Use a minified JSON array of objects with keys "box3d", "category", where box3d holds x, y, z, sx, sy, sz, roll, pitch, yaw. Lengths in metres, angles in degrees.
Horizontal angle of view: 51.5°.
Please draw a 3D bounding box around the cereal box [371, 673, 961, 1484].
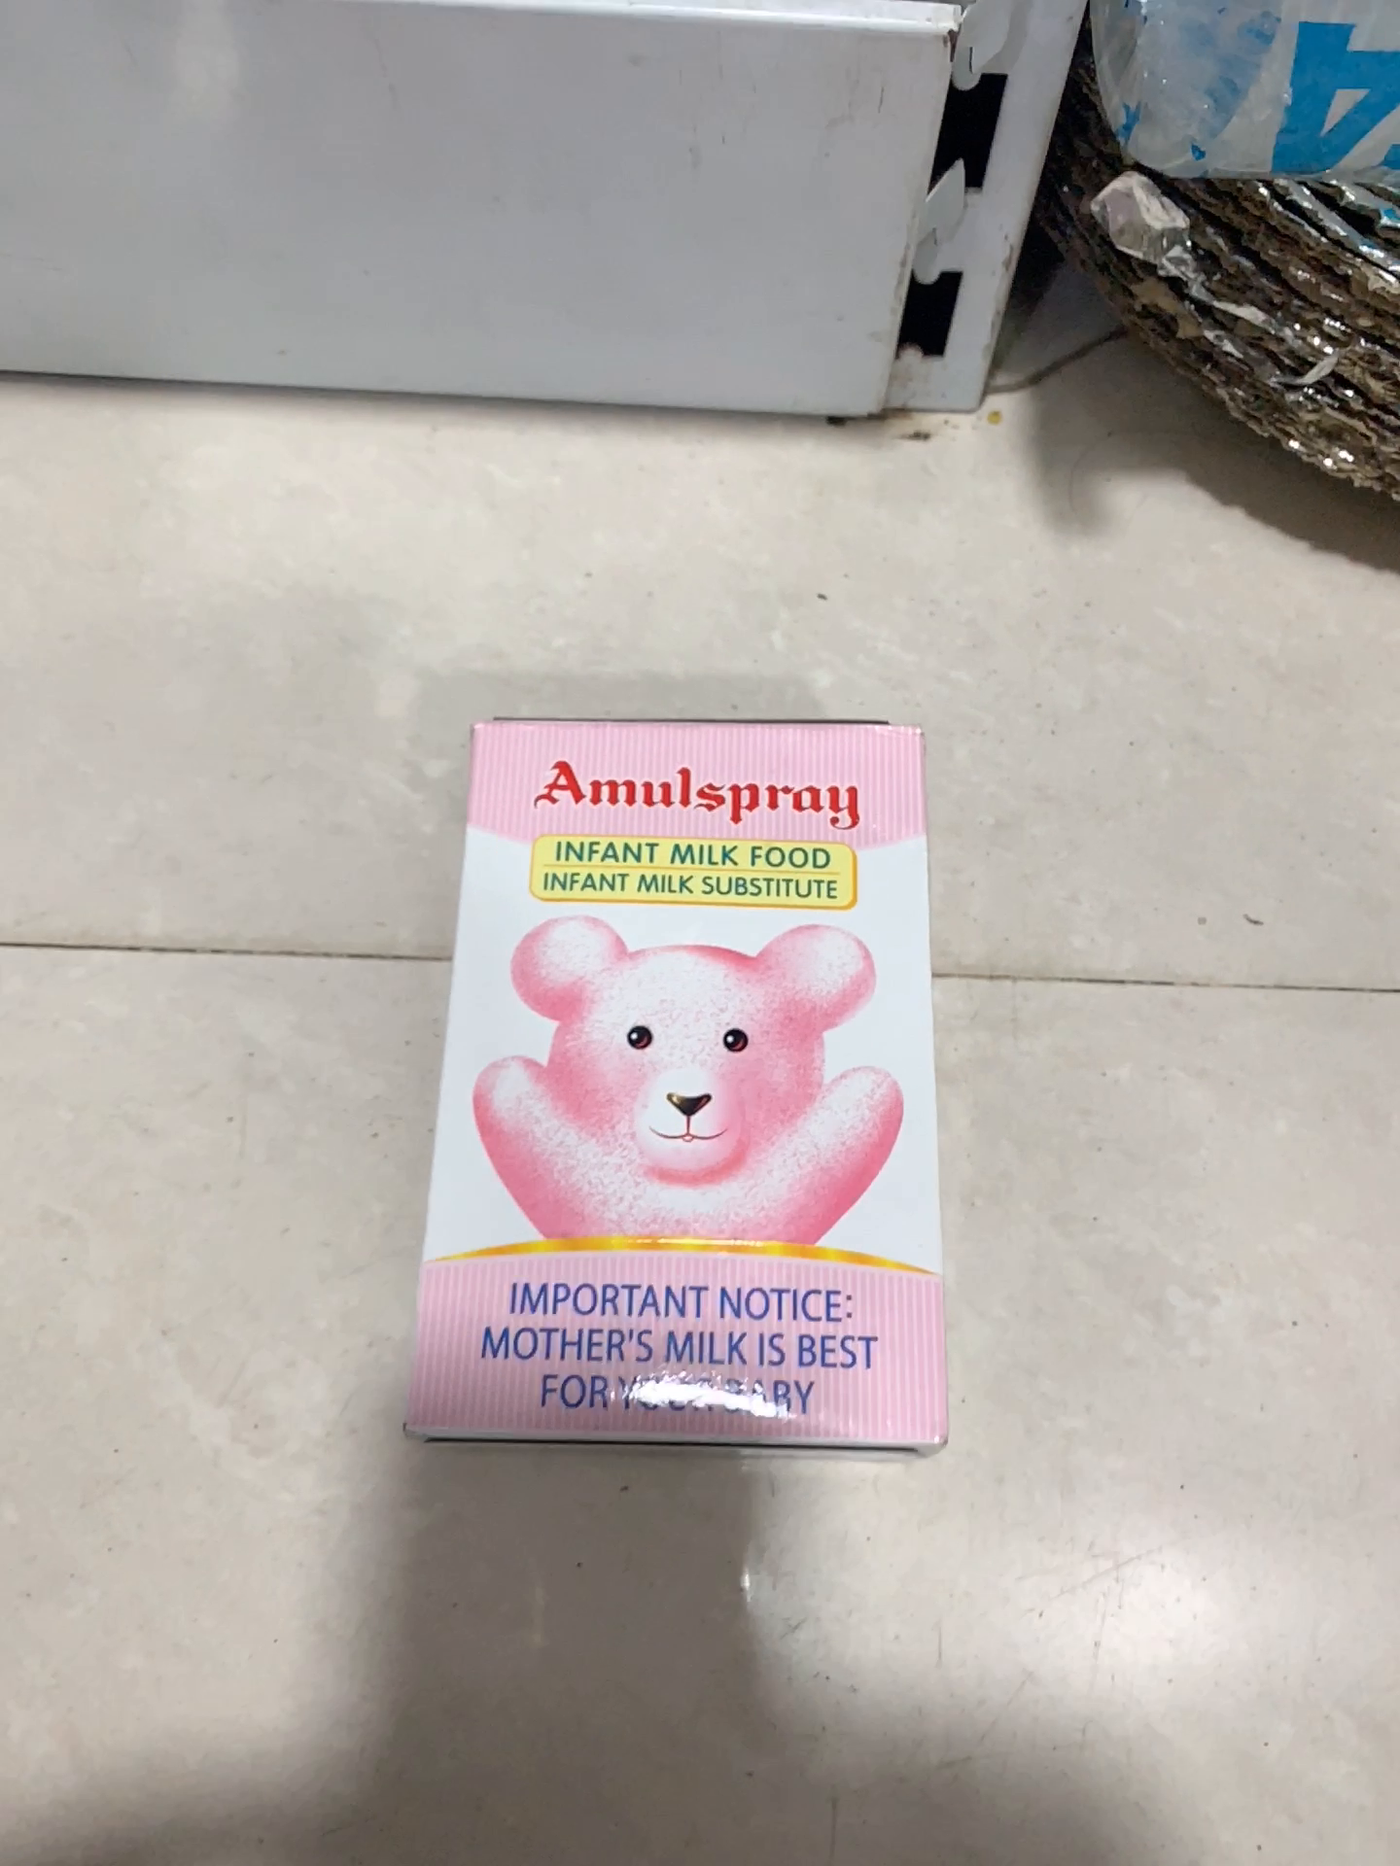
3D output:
[{"box3d":[-0.004,0.026,0.271,0.090,0.050,0.140,1,68,1],"category":"cereal box"}]
